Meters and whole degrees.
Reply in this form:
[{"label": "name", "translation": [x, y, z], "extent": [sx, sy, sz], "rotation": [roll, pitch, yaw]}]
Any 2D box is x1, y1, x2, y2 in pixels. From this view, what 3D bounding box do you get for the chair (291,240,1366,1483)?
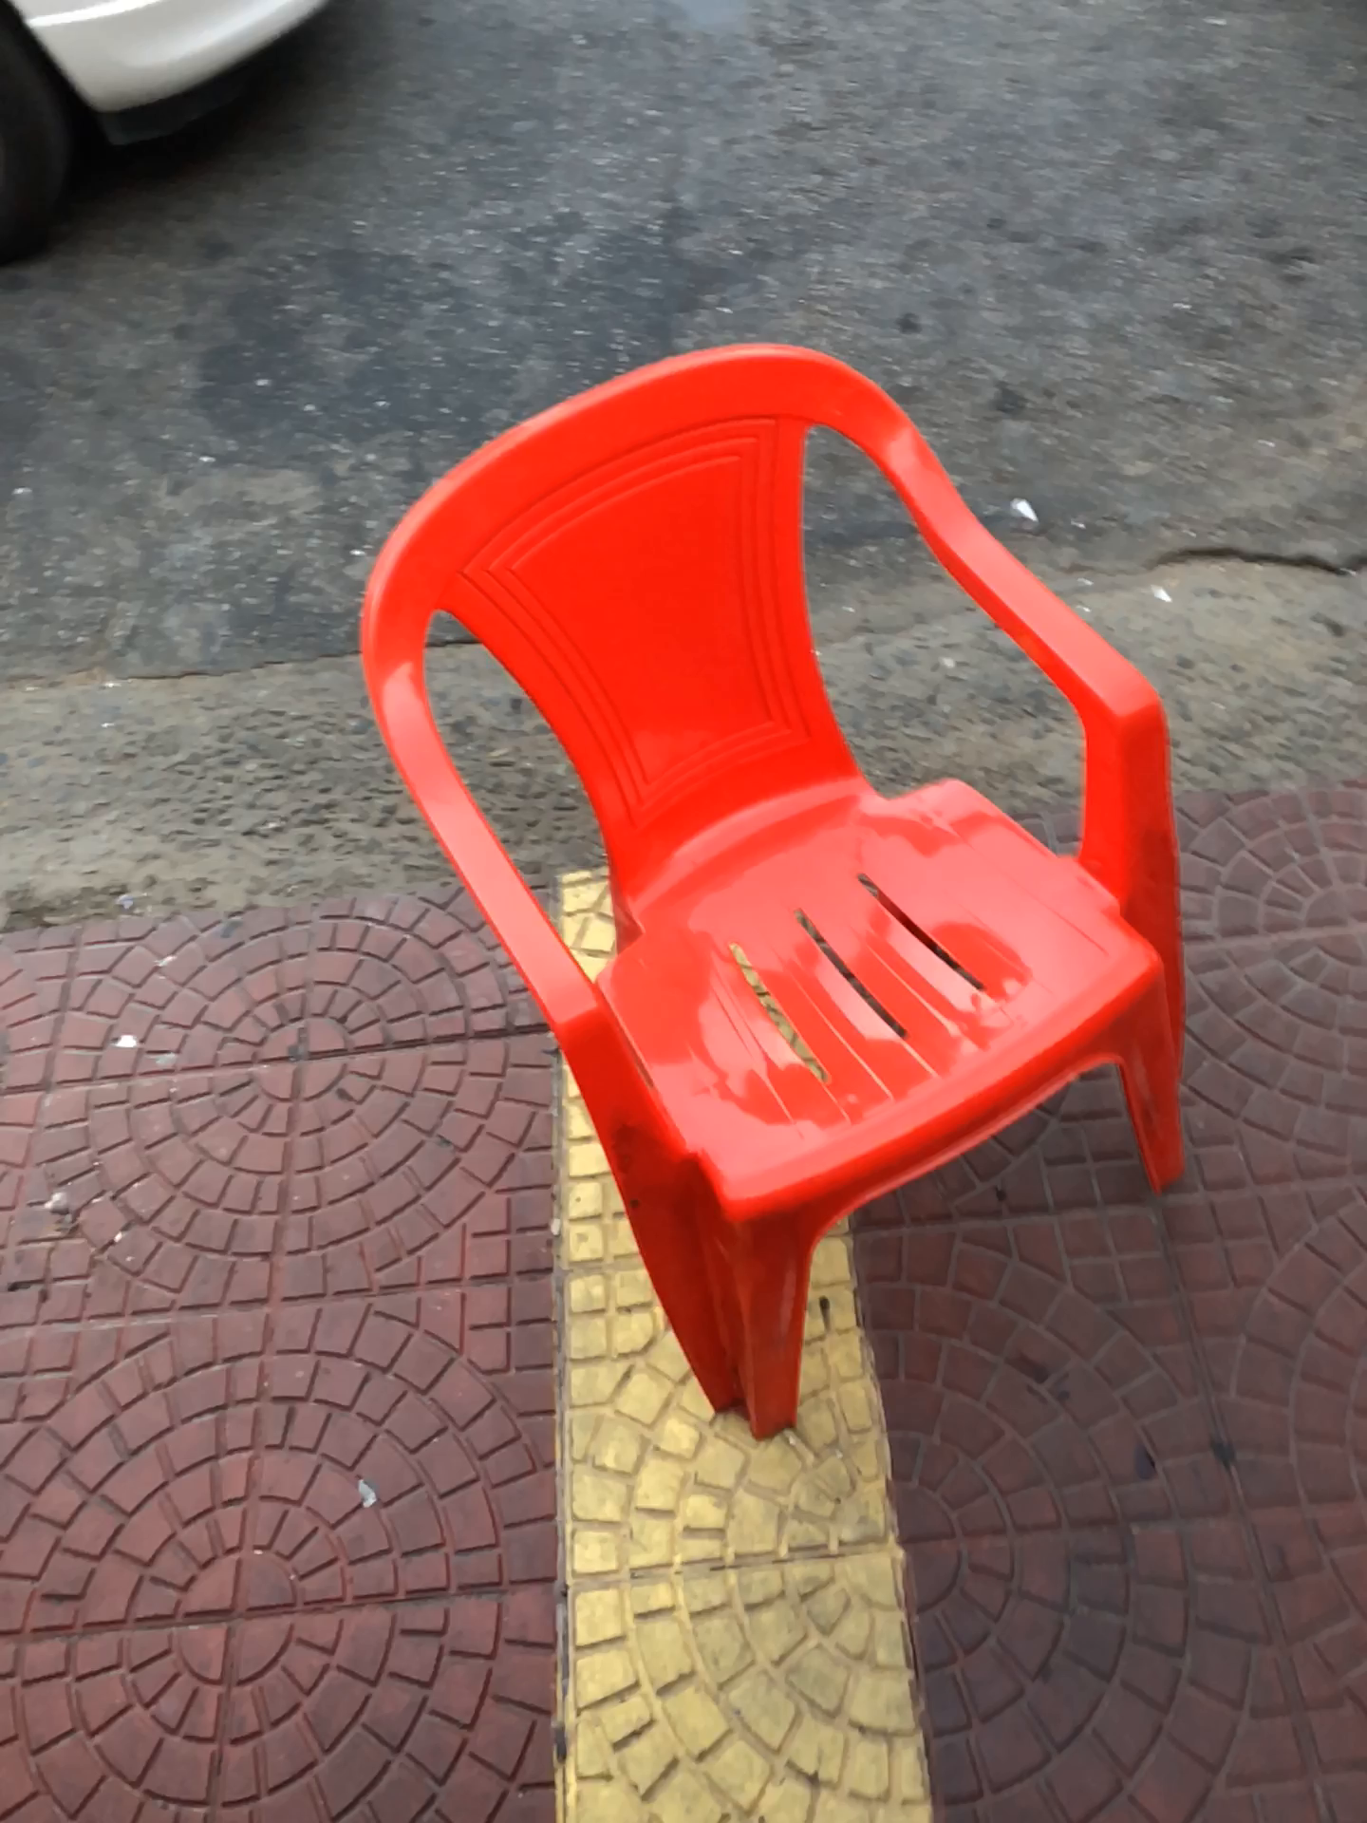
[{"label": "chair", "translation": [0.131, -0.002, 1.321], "extent": [0.571, 0.795, 0.543], "rotation": [-27, 55, -13]}]
